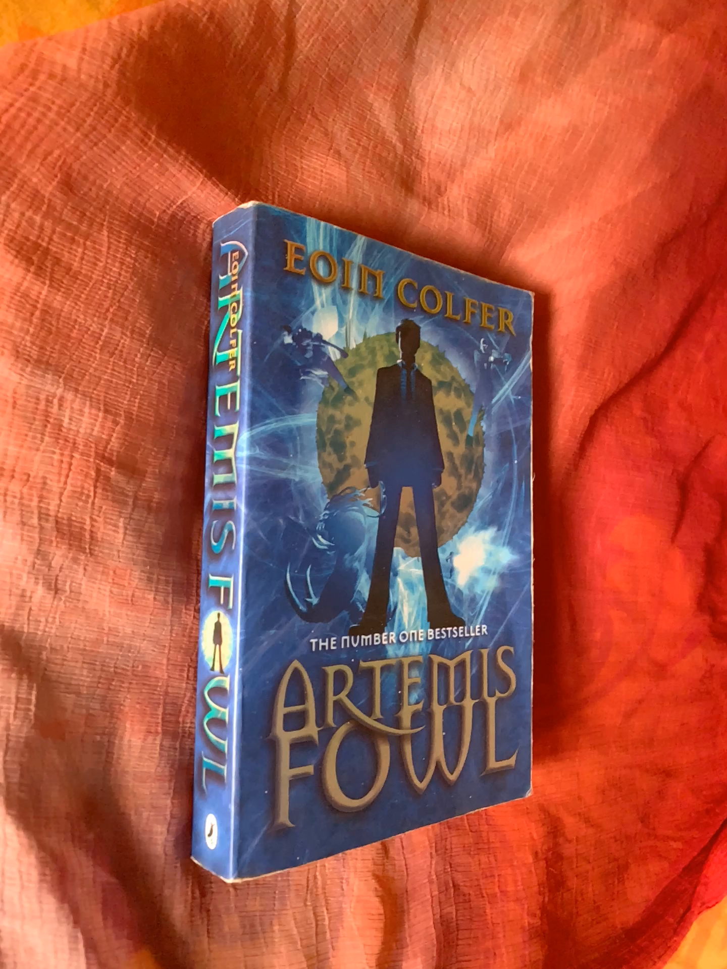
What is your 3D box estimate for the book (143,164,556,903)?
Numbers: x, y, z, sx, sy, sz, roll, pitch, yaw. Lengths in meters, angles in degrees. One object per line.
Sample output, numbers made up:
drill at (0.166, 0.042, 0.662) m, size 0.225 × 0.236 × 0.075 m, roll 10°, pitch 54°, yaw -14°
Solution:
book at (0.004, 0.015, 0.245) m, size 0.131 × 0.030 × 0.190 m, roll 5°, pitch 87°, yaw -37°
